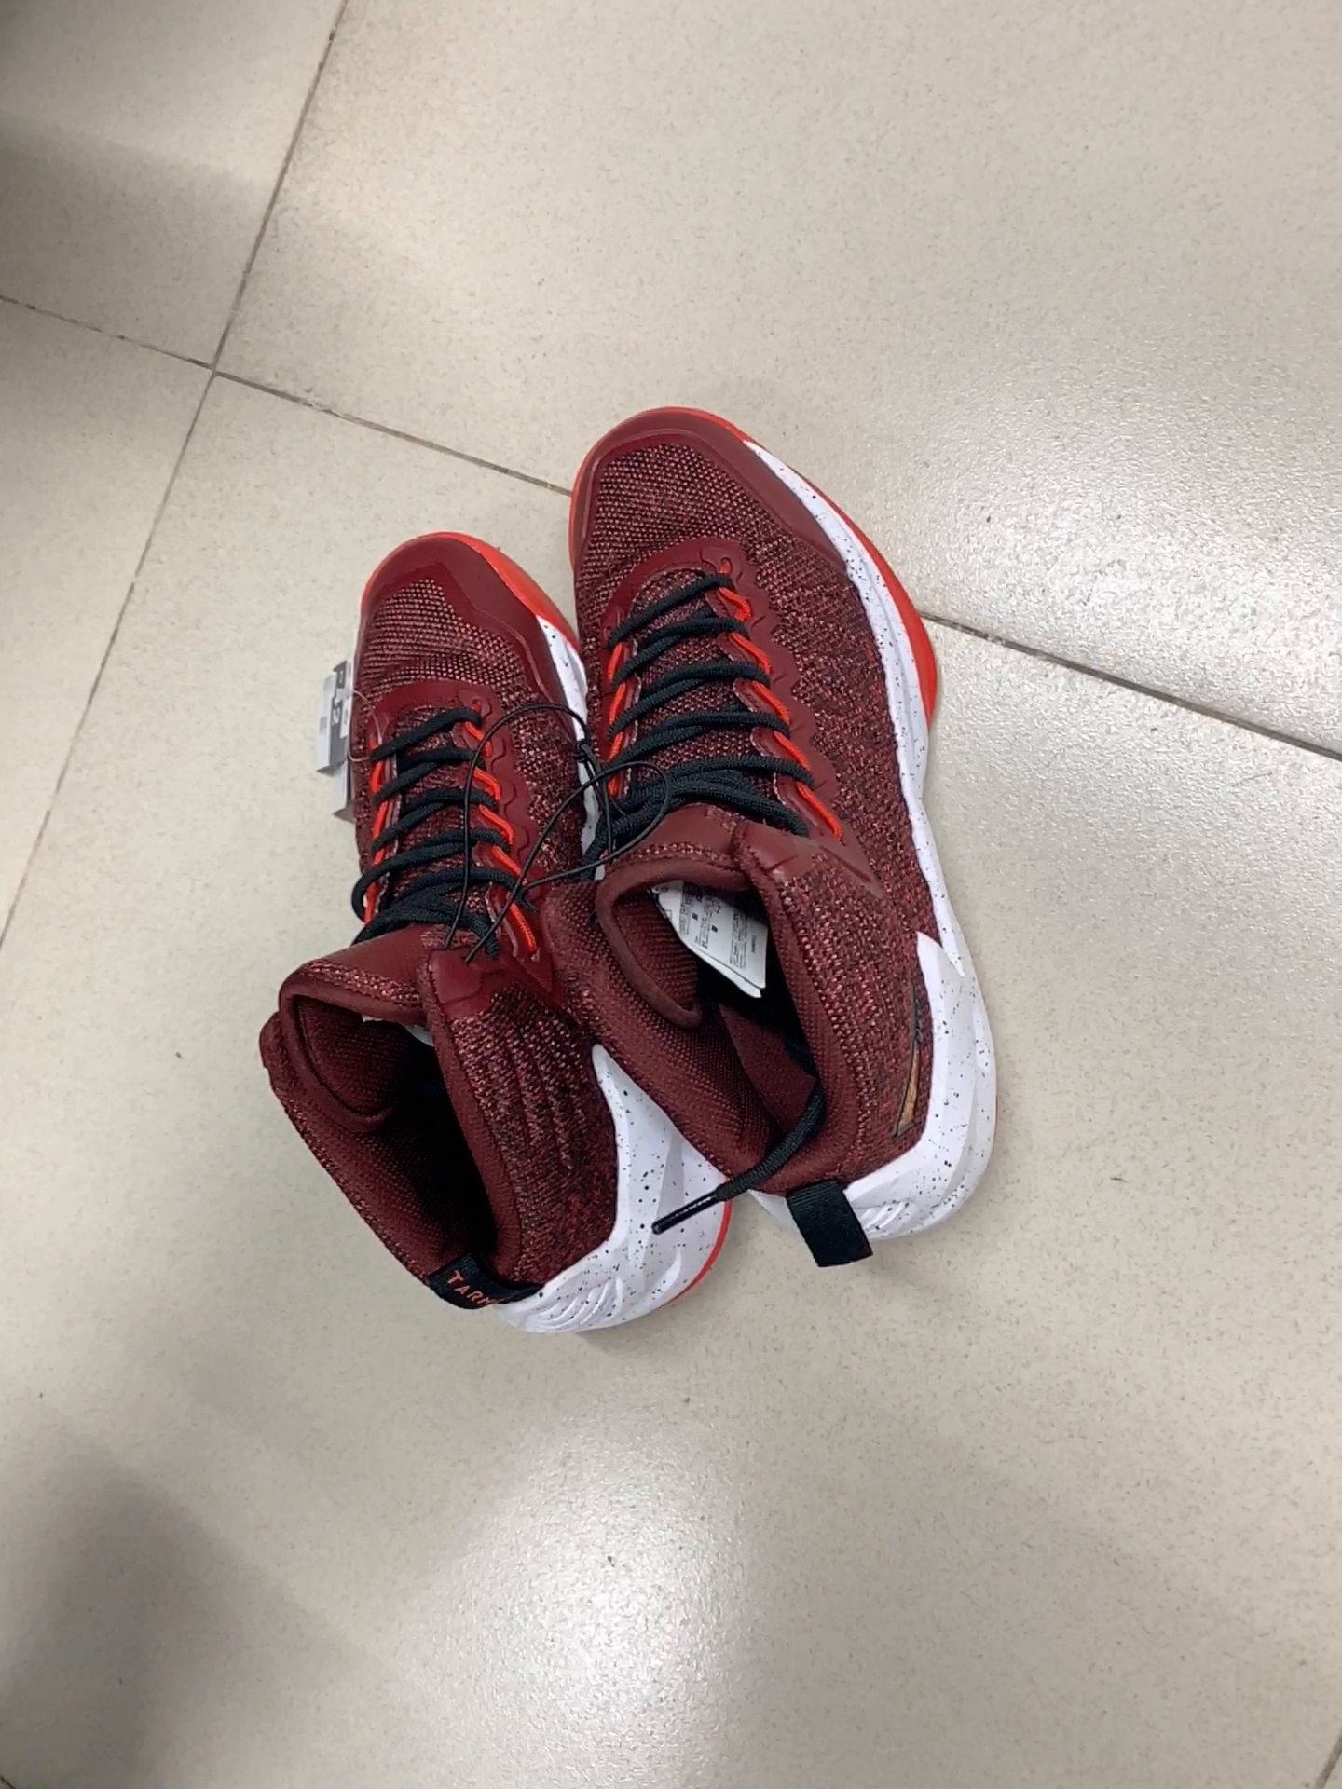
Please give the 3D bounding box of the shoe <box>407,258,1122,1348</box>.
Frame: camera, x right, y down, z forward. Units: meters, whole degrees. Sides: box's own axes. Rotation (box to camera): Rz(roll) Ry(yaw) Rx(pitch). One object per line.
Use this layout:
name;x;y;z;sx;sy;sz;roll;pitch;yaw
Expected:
shoe;0.030;-0.022;0.420;0.120;0.110;0.270;-19;80;21

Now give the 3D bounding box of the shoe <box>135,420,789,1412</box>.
shoe;-0.070;0.009;0.470;0.120;0.110;0.280;-19;80;21
